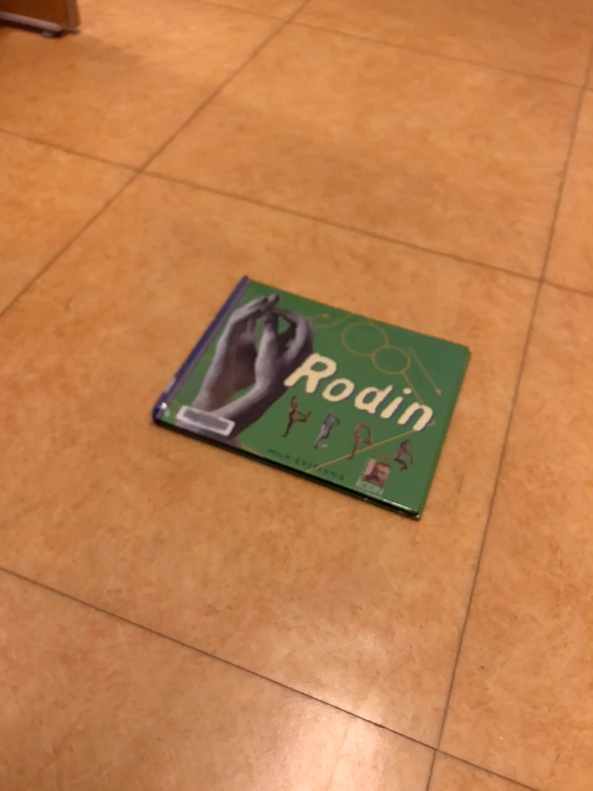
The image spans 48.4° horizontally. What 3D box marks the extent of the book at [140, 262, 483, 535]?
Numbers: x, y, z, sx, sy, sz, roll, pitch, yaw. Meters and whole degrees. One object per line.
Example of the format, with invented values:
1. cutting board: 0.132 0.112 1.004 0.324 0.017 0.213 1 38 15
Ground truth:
1. book: 0.022 -0.012 0.584 0.243 0.030 0.201 19 52 10
